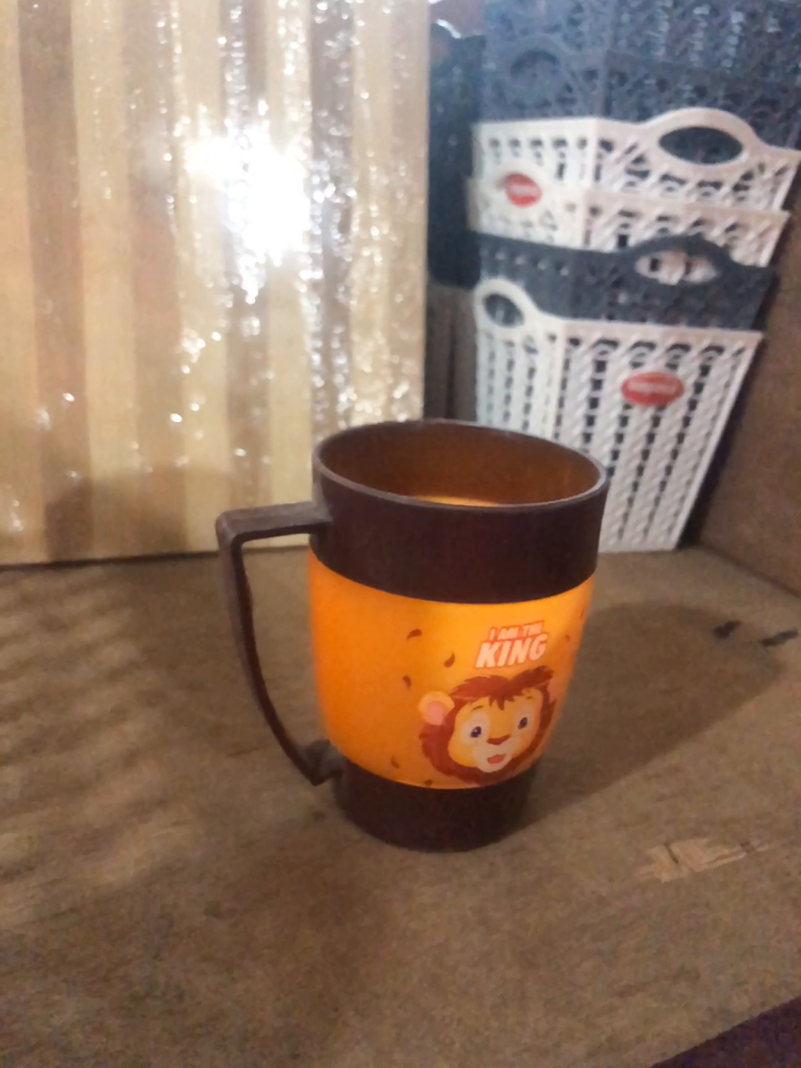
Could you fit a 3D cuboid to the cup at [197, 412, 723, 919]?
[{"bbox_3d":[0.007,0.024,0.214,0.100,0.090,0.060,-4,24,-20],"label":"cup"}]
